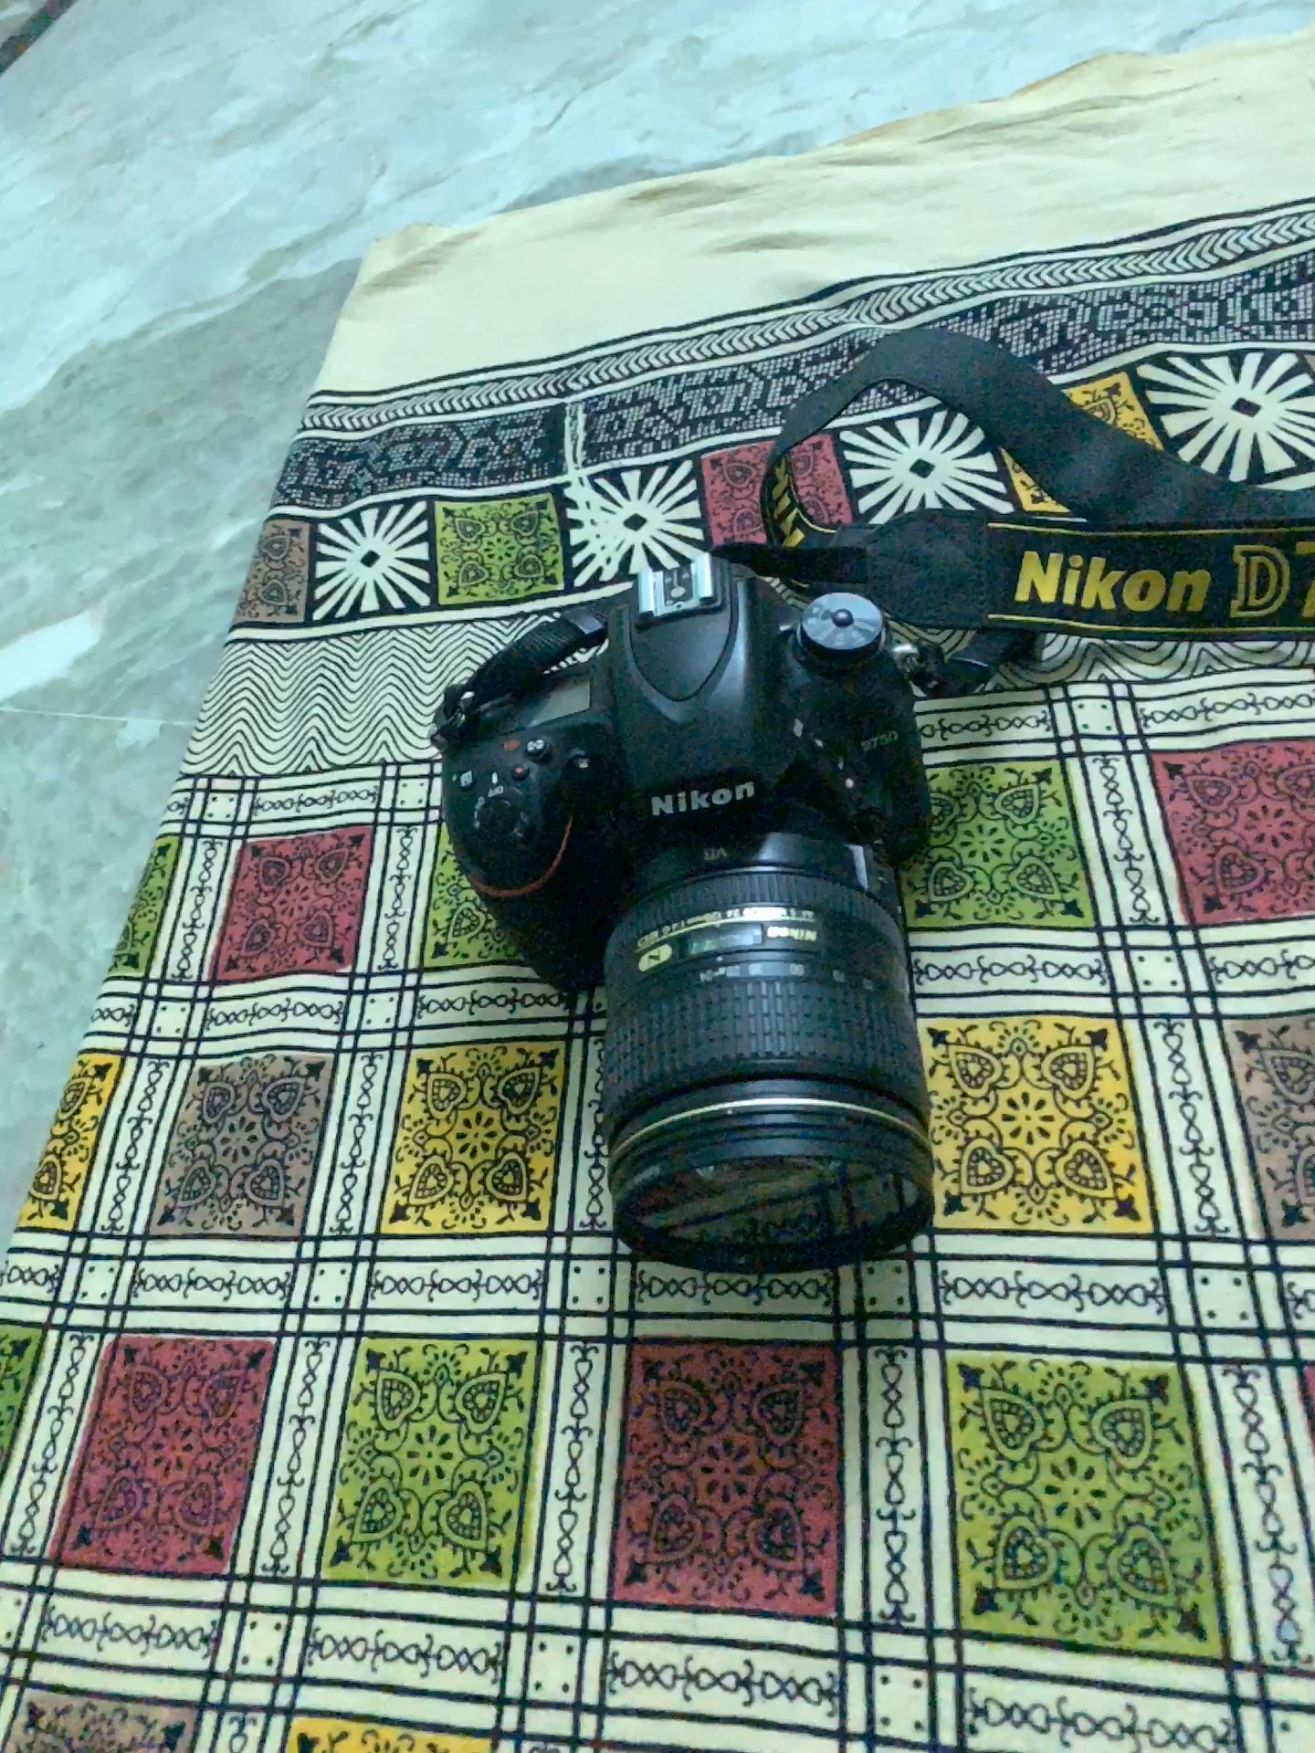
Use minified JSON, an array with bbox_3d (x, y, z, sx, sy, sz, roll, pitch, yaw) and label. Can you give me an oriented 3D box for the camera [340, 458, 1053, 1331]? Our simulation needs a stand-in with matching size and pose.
[{"bbox_3d":[0.014,0.004,0.361,0.140,0.100,0.190,-10,52,13],"label":"camera"}]
